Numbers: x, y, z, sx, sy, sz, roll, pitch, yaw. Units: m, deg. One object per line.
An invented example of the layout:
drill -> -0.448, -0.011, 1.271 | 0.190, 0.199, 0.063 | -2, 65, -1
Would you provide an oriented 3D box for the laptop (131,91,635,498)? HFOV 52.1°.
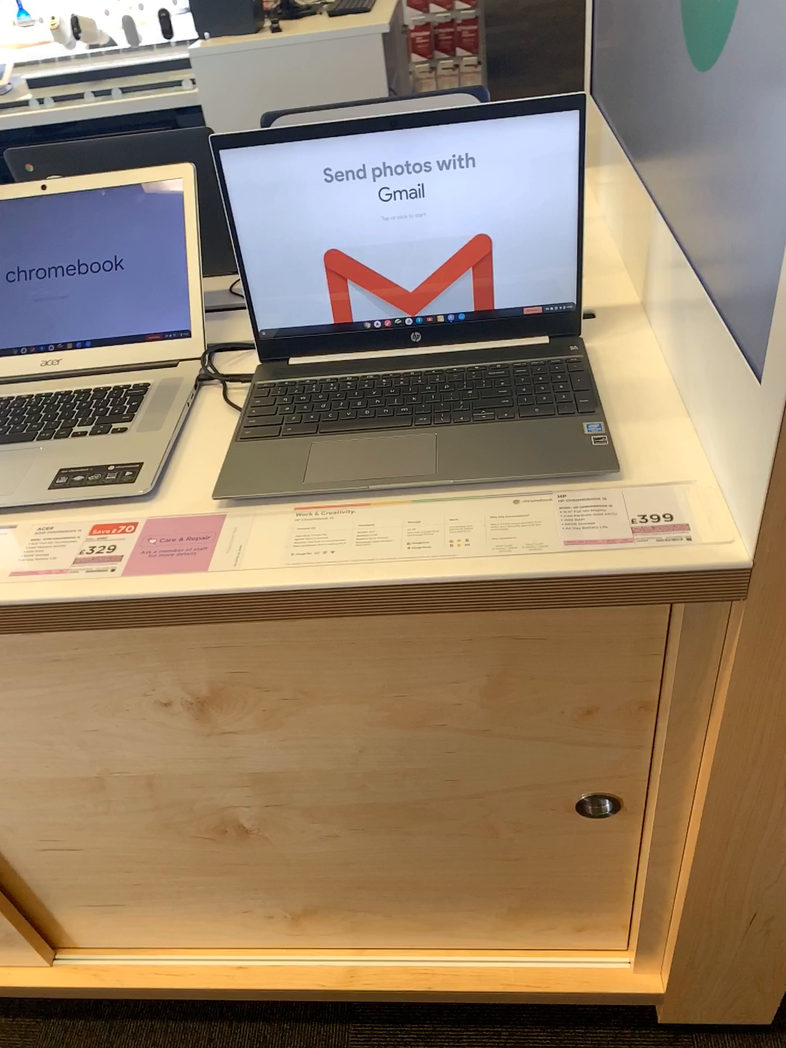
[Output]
laptop -> 0.005, -0.209, 0.725 | 0.351, 0.228, 0.266 | -4, 40, 6
